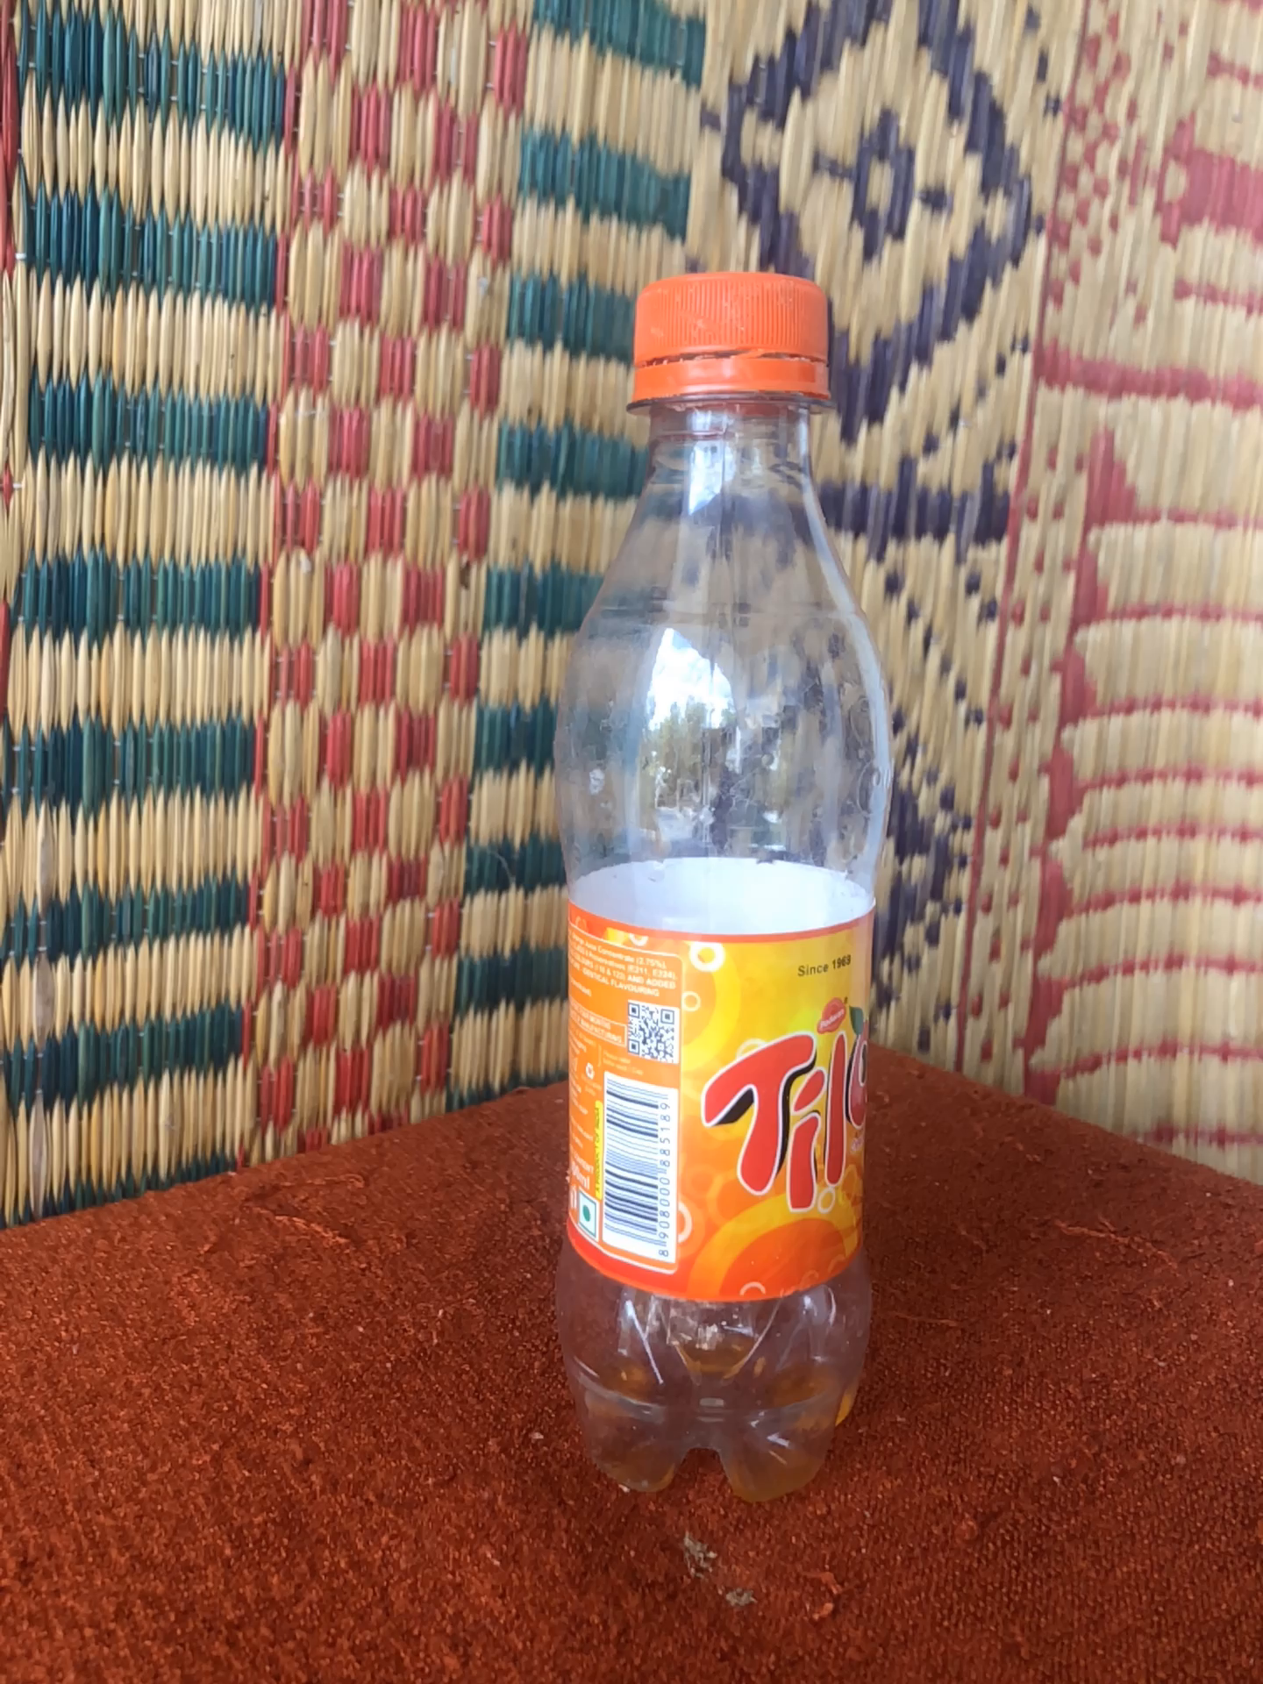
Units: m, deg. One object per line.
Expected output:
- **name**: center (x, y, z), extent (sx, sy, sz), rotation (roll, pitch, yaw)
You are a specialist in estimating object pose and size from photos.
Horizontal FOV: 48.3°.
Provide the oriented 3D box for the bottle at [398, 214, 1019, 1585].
- **bottle**: center (0.009, 0.009, 0.229), extent (0.070, 0.189, 0.050), rotation (-5, 15, -37)
